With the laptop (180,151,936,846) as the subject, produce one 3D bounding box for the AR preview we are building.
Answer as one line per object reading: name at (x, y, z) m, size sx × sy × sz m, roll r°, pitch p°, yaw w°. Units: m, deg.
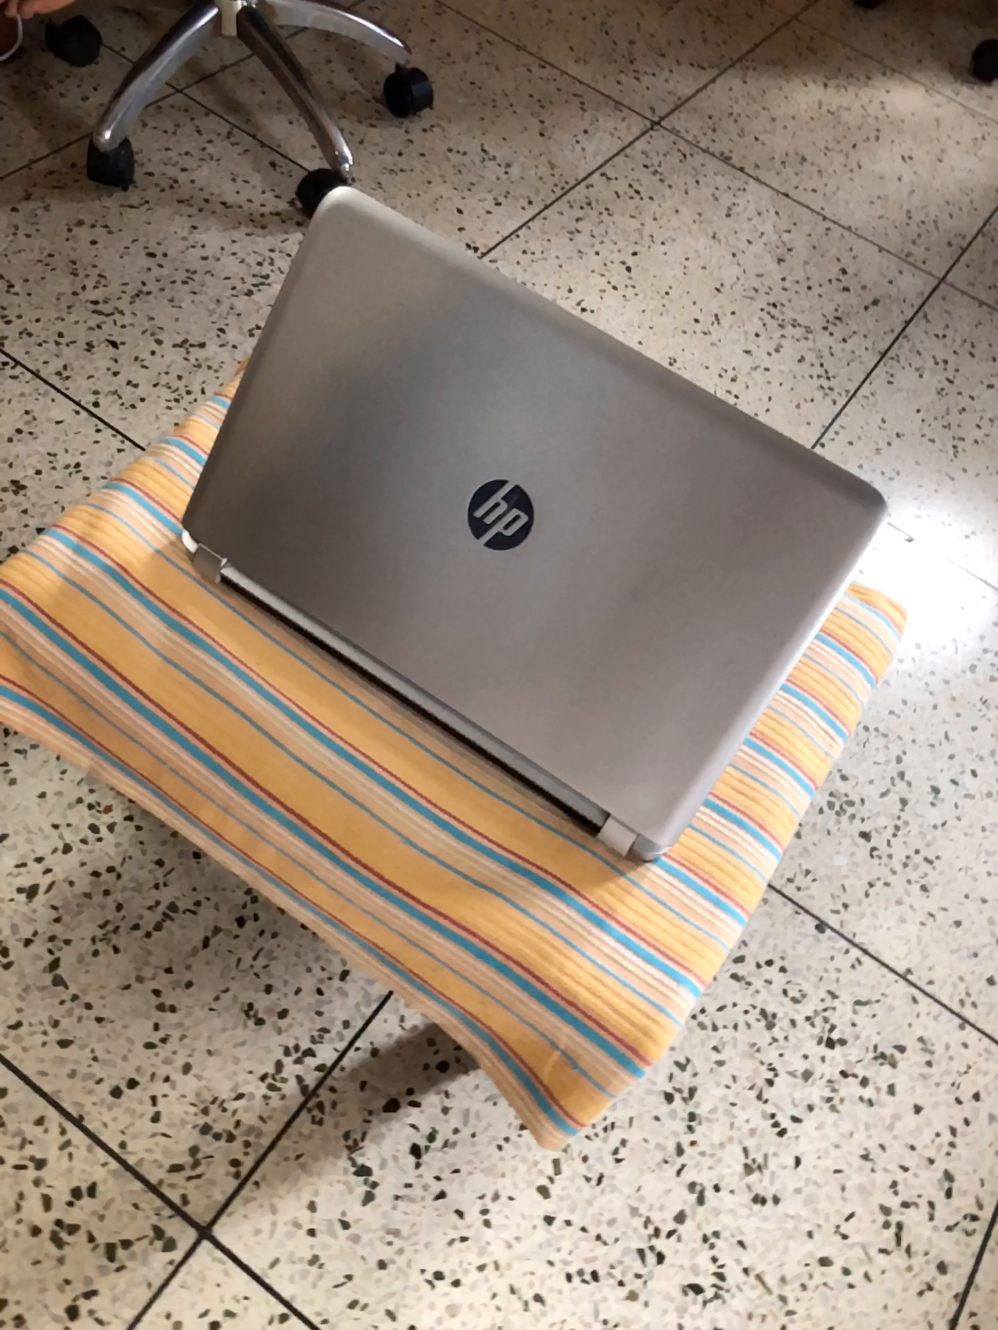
laptop at (0.028, -0.114, 0.702) m, size 0.372 × 0.184 × 0.237 m, roll 33°, pitch 57°, yaw 11°
